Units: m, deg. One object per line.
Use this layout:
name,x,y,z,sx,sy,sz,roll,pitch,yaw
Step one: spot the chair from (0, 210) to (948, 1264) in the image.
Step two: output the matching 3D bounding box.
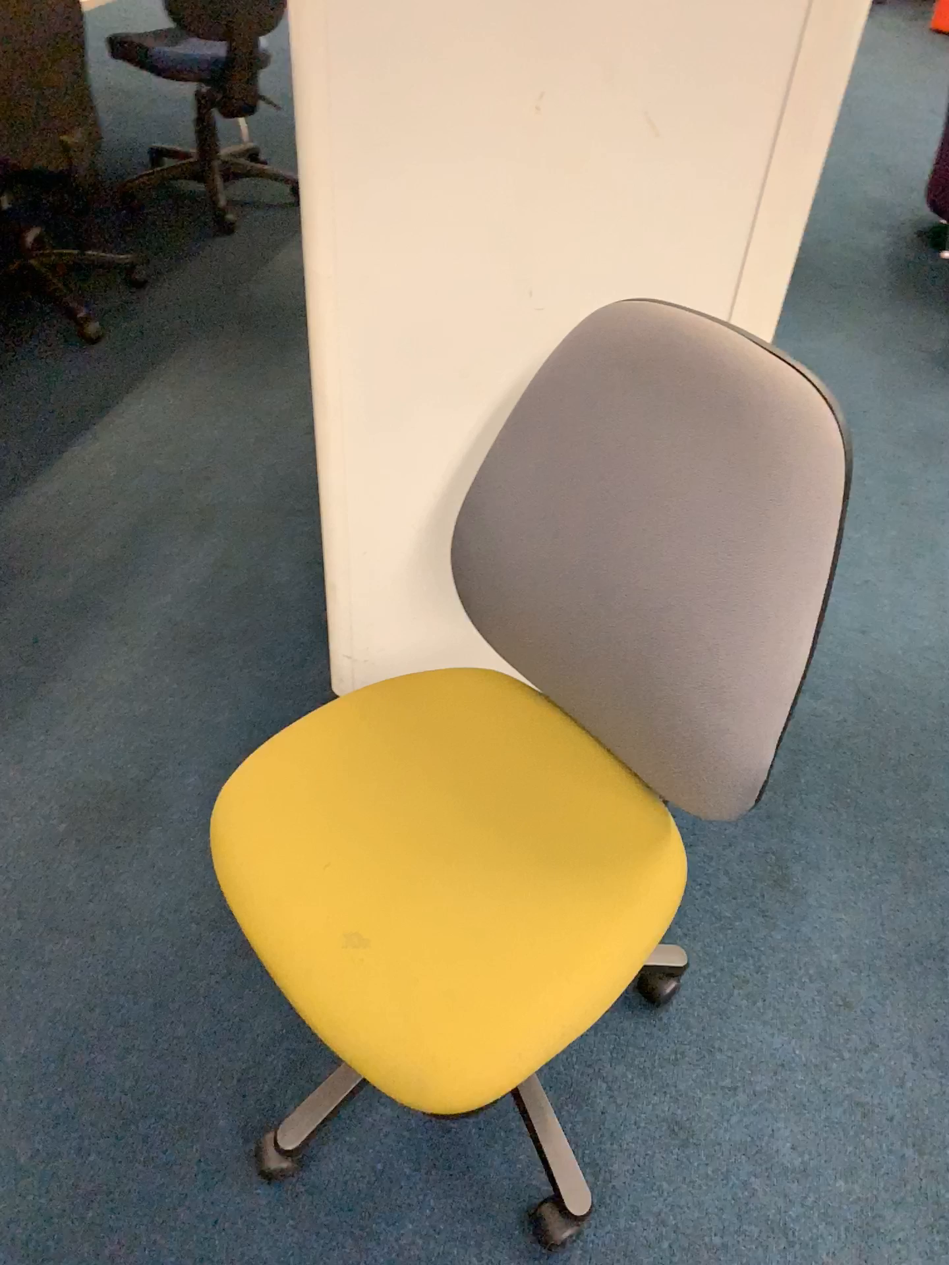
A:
chair,-0.006,0.195,1.024,0.663,0.921,0.643,-29,53,-30
